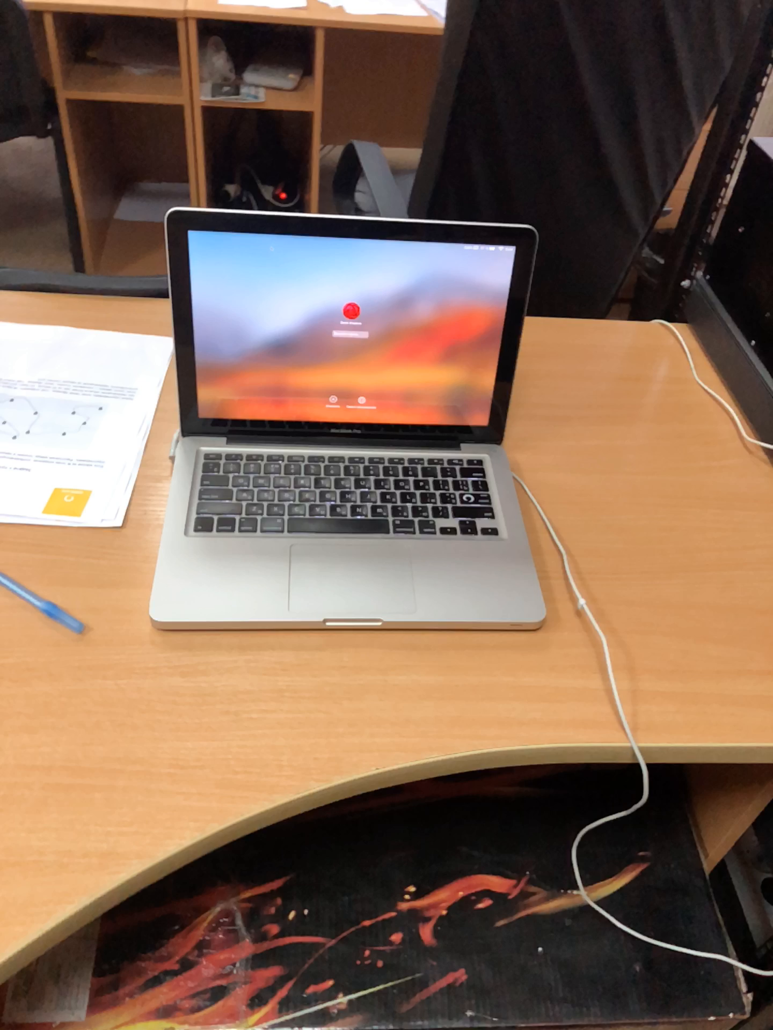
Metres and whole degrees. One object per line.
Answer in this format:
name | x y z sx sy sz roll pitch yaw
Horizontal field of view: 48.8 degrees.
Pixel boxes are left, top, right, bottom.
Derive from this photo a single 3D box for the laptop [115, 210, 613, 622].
laptop | -0.027 -0.085 0.702 0.315 0.207 0.267 1 44 -7
